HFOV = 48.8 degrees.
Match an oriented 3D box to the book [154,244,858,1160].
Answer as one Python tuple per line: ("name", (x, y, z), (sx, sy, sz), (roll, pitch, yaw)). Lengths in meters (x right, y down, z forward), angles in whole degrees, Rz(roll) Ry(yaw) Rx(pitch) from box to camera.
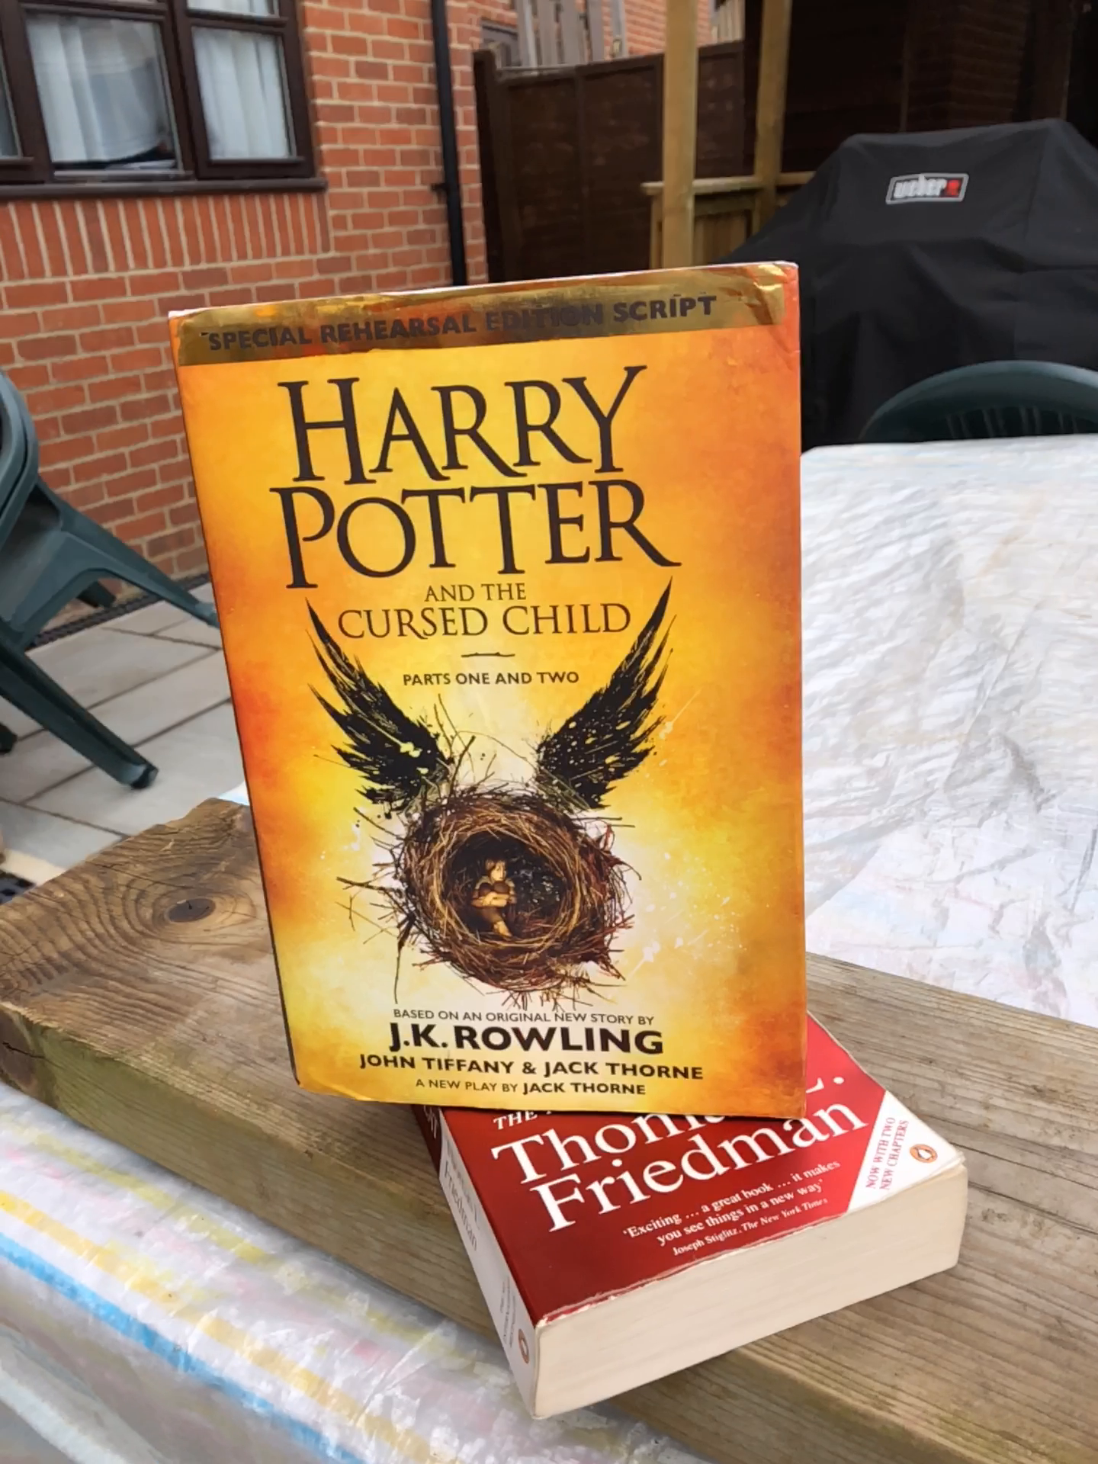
("book", (-0.006, -0.003, 0.339), (0.170, 0.239, 0.040), (2, 18, 12))

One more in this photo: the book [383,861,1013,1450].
("book", (0.031, 0.113, 0.391), (0.130, 0.040, 0.191), (-10, 22, -16))
